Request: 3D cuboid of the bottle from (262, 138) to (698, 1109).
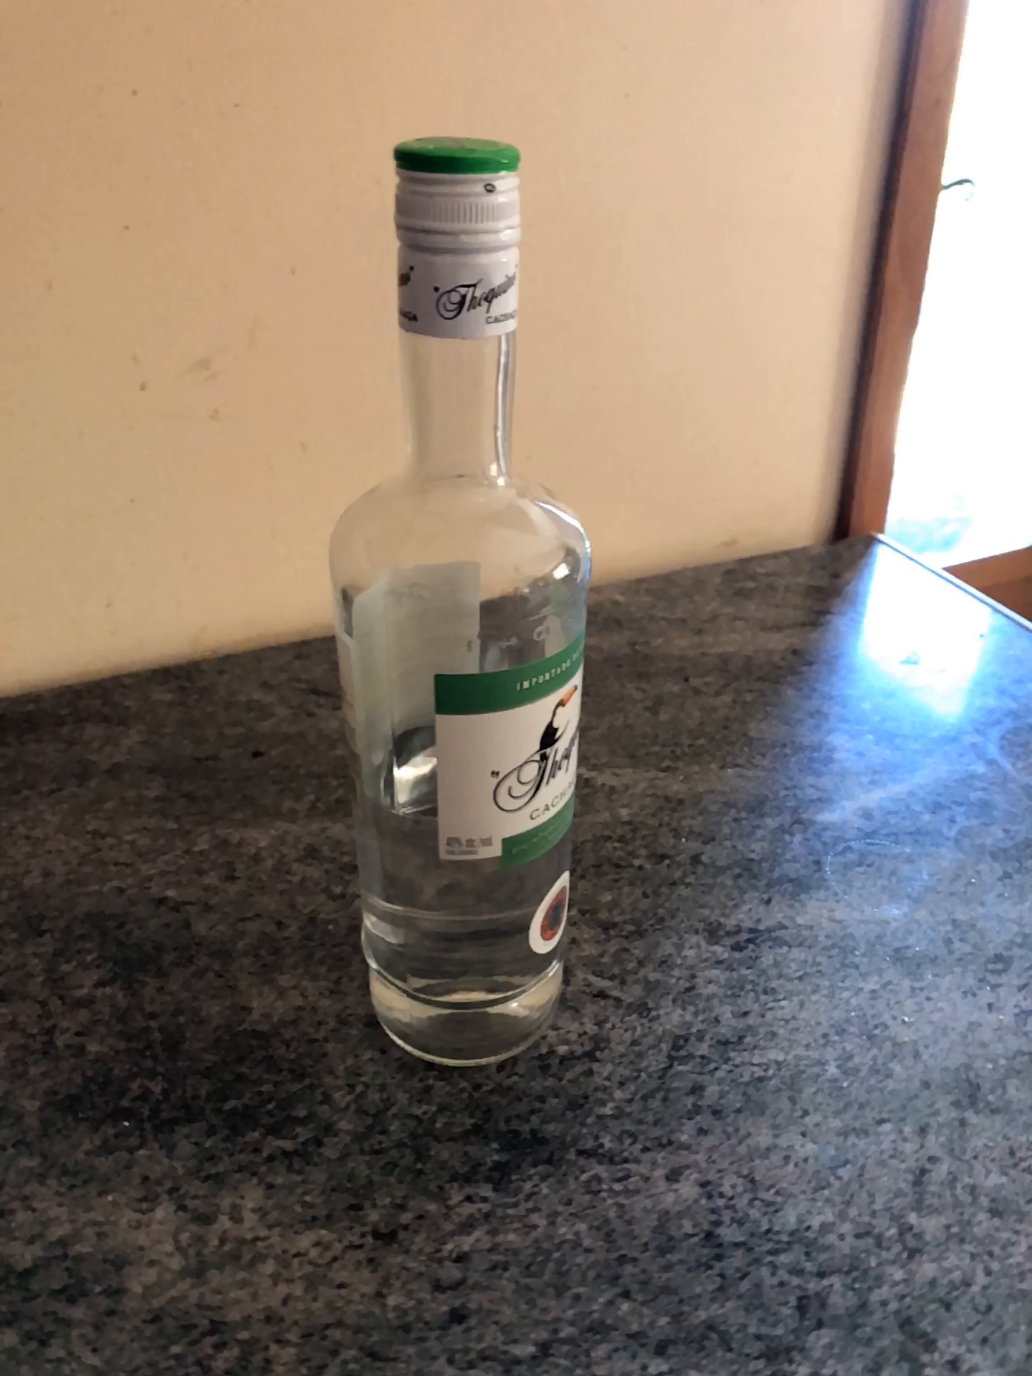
[{"bbox_3d":[-0.008,-0.012,0.353,0.080,0.278,0.081,1,28,0],"label":"bottle"}]
